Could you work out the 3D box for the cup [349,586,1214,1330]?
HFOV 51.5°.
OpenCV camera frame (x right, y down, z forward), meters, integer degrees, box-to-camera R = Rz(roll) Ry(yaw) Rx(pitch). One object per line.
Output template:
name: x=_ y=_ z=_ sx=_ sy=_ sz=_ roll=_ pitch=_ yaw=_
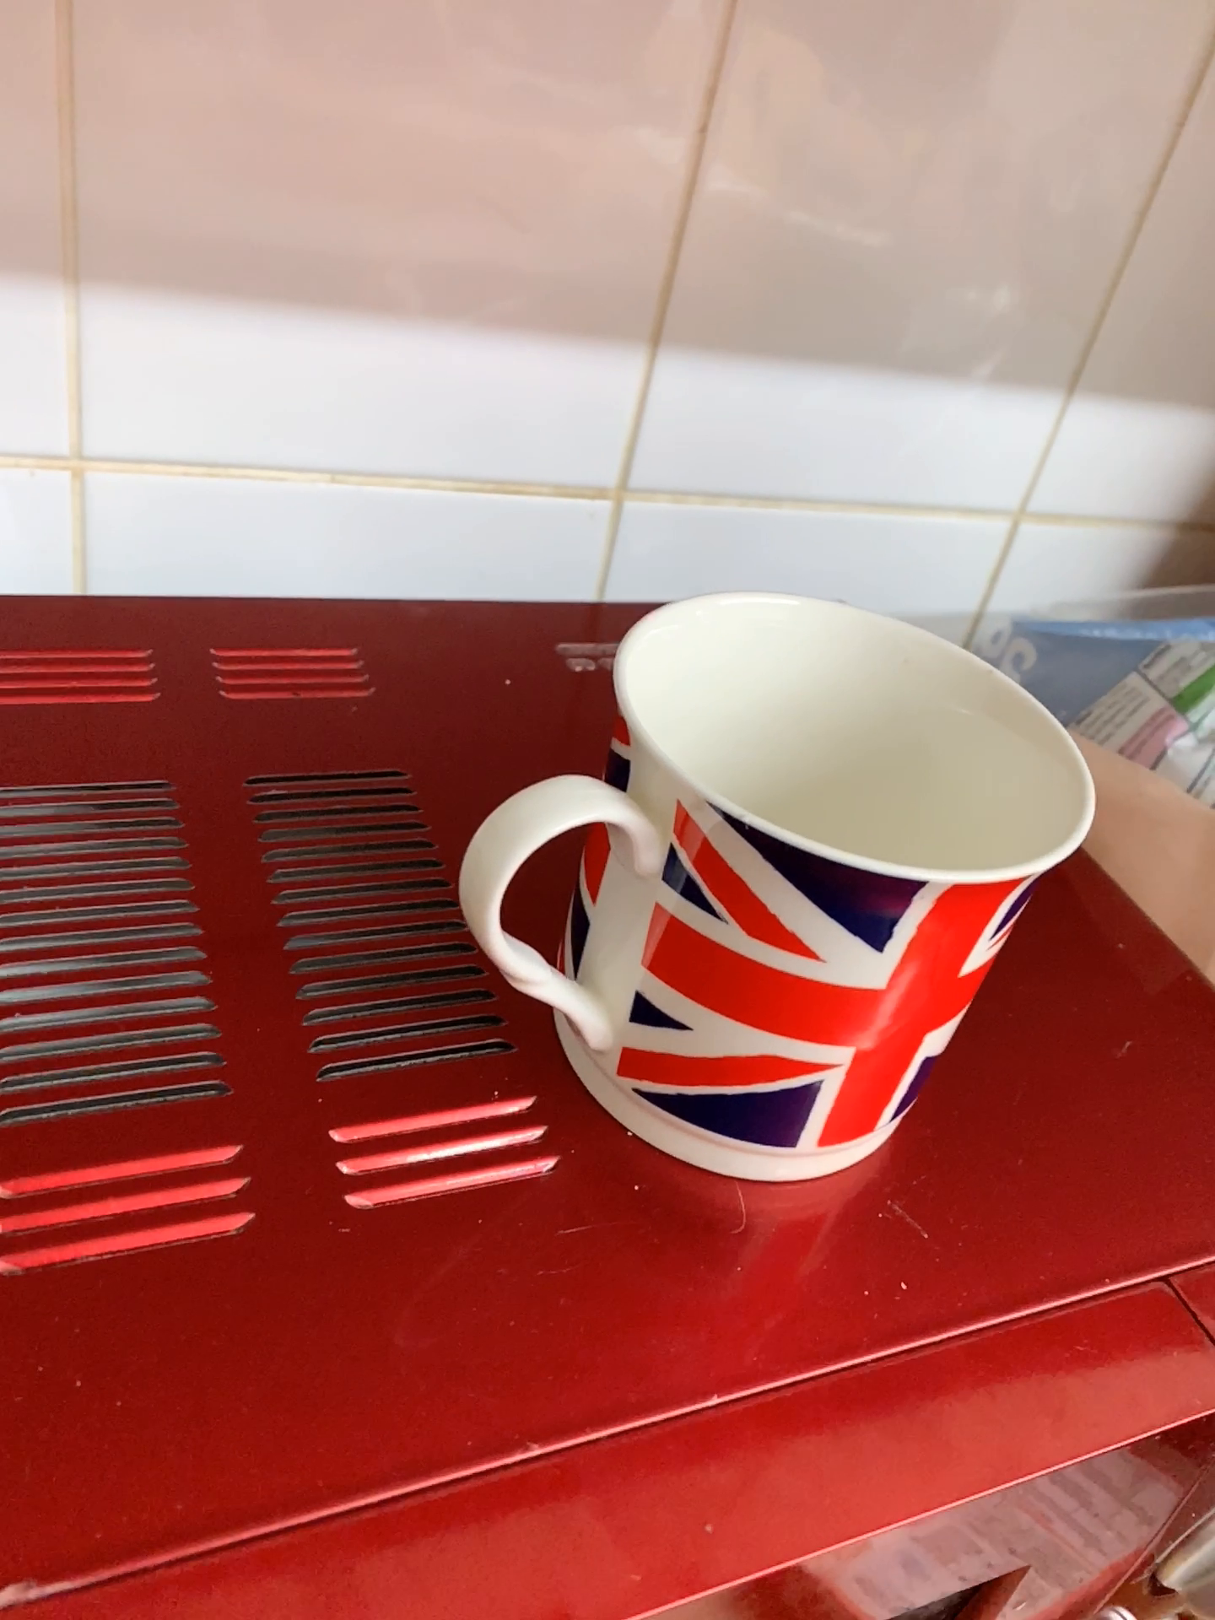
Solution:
cup: x=0.028 y=0.017 z=0.230 sx=0.120 sy=0.079 sz=0.081 roll=-9 pitch=42 yaw=-30
